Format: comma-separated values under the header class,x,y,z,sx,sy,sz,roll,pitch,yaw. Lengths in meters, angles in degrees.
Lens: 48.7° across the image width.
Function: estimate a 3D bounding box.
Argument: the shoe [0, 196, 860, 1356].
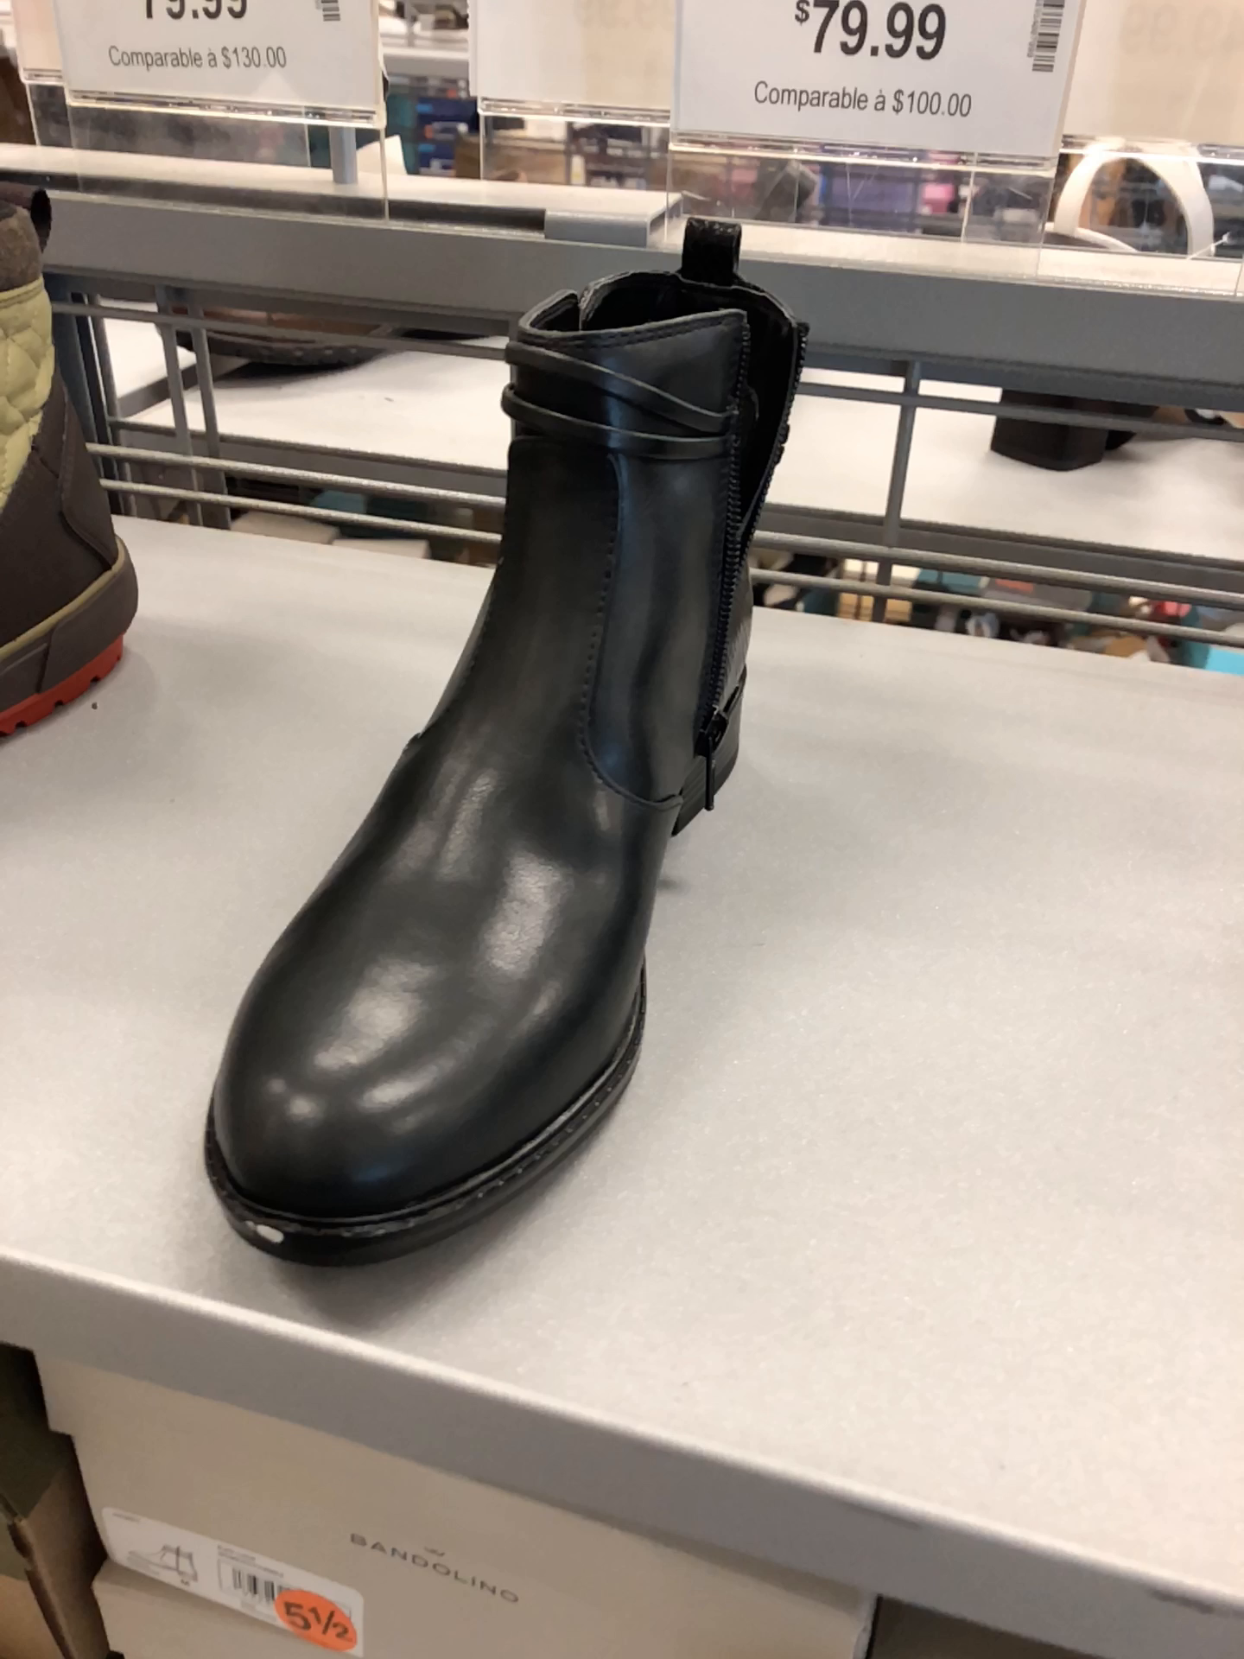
class,x,y,z,sx,sy,sz,roll,pitch,yaw
shoe,-0.023,-0.038,0.305,0.090,0.149,0.232,12,35,15
